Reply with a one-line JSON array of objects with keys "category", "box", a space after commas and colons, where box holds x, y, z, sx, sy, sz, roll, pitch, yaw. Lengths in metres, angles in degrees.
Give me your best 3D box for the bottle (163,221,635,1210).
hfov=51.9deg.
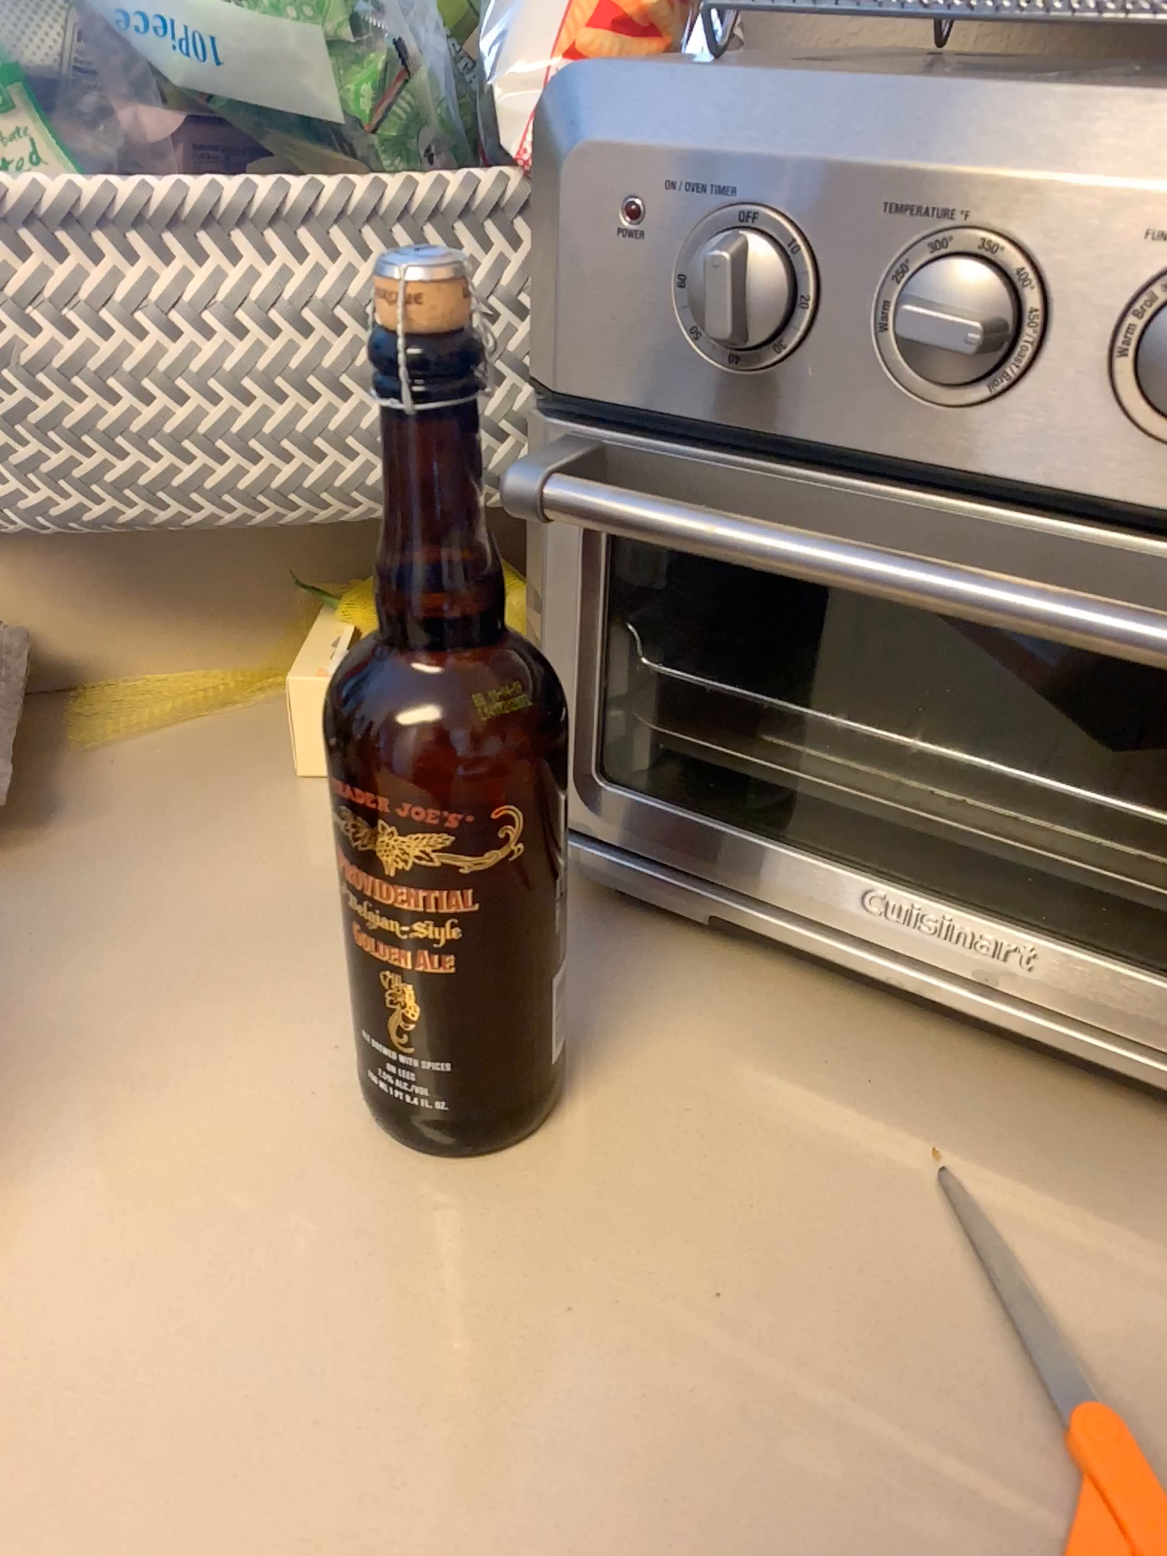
[{"category": "bottle", "box": [-0.047, -0.007, 0.384, 0.090, 0.298, 0.080, 15, 34, 21]}]
